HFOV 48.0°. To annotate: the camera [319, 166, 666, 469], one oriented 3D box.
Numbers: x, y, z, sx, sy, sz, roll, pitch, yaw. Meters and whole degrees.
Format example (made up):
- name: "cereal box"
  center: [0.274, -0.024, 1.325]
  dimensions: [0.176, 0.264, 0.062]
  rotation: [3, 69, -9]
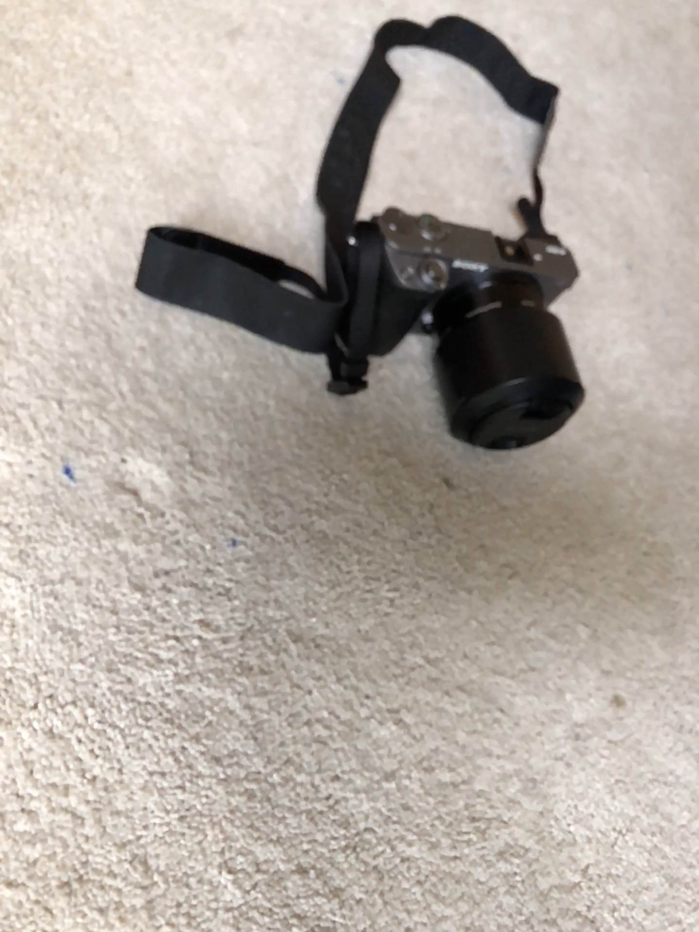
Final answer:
- name: "camera"
  center: [0.068, -0.071, 0.410]
  dimensions: [0.130, 0.080, 0.120]
  rotation: [1, 62, -26]
